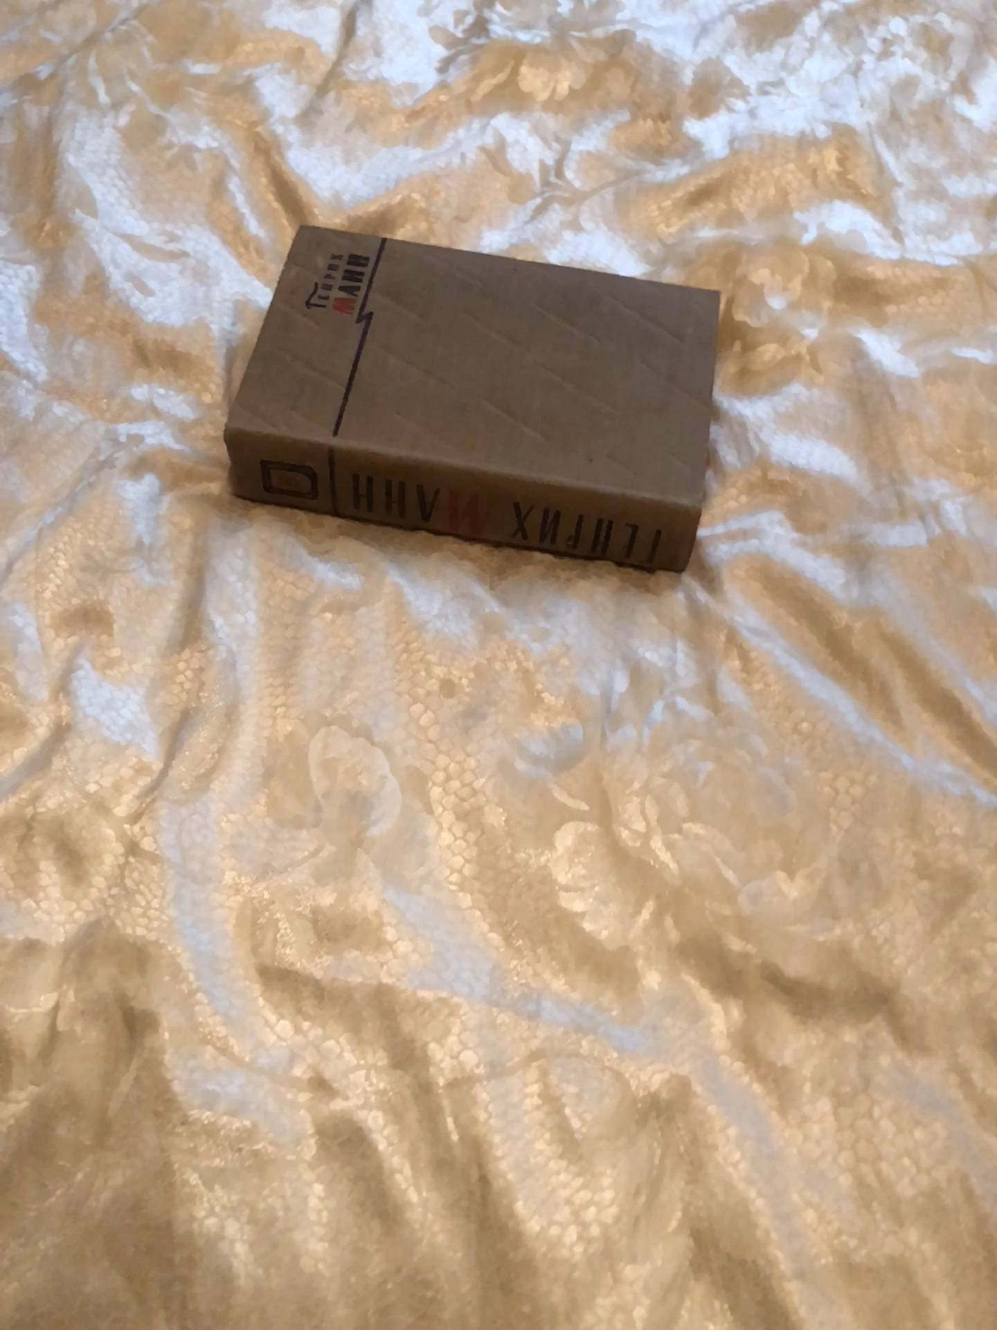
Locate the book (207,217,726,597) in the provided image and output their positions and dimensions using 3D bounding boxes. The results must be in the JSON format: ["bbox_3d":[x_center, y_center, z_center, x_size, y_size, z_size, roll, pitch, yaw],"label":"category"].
[{"bbox_3d":[-0.009,-0.123,0.512,0.208,0.051,0.142,10,62,3],"label":"book"}]
